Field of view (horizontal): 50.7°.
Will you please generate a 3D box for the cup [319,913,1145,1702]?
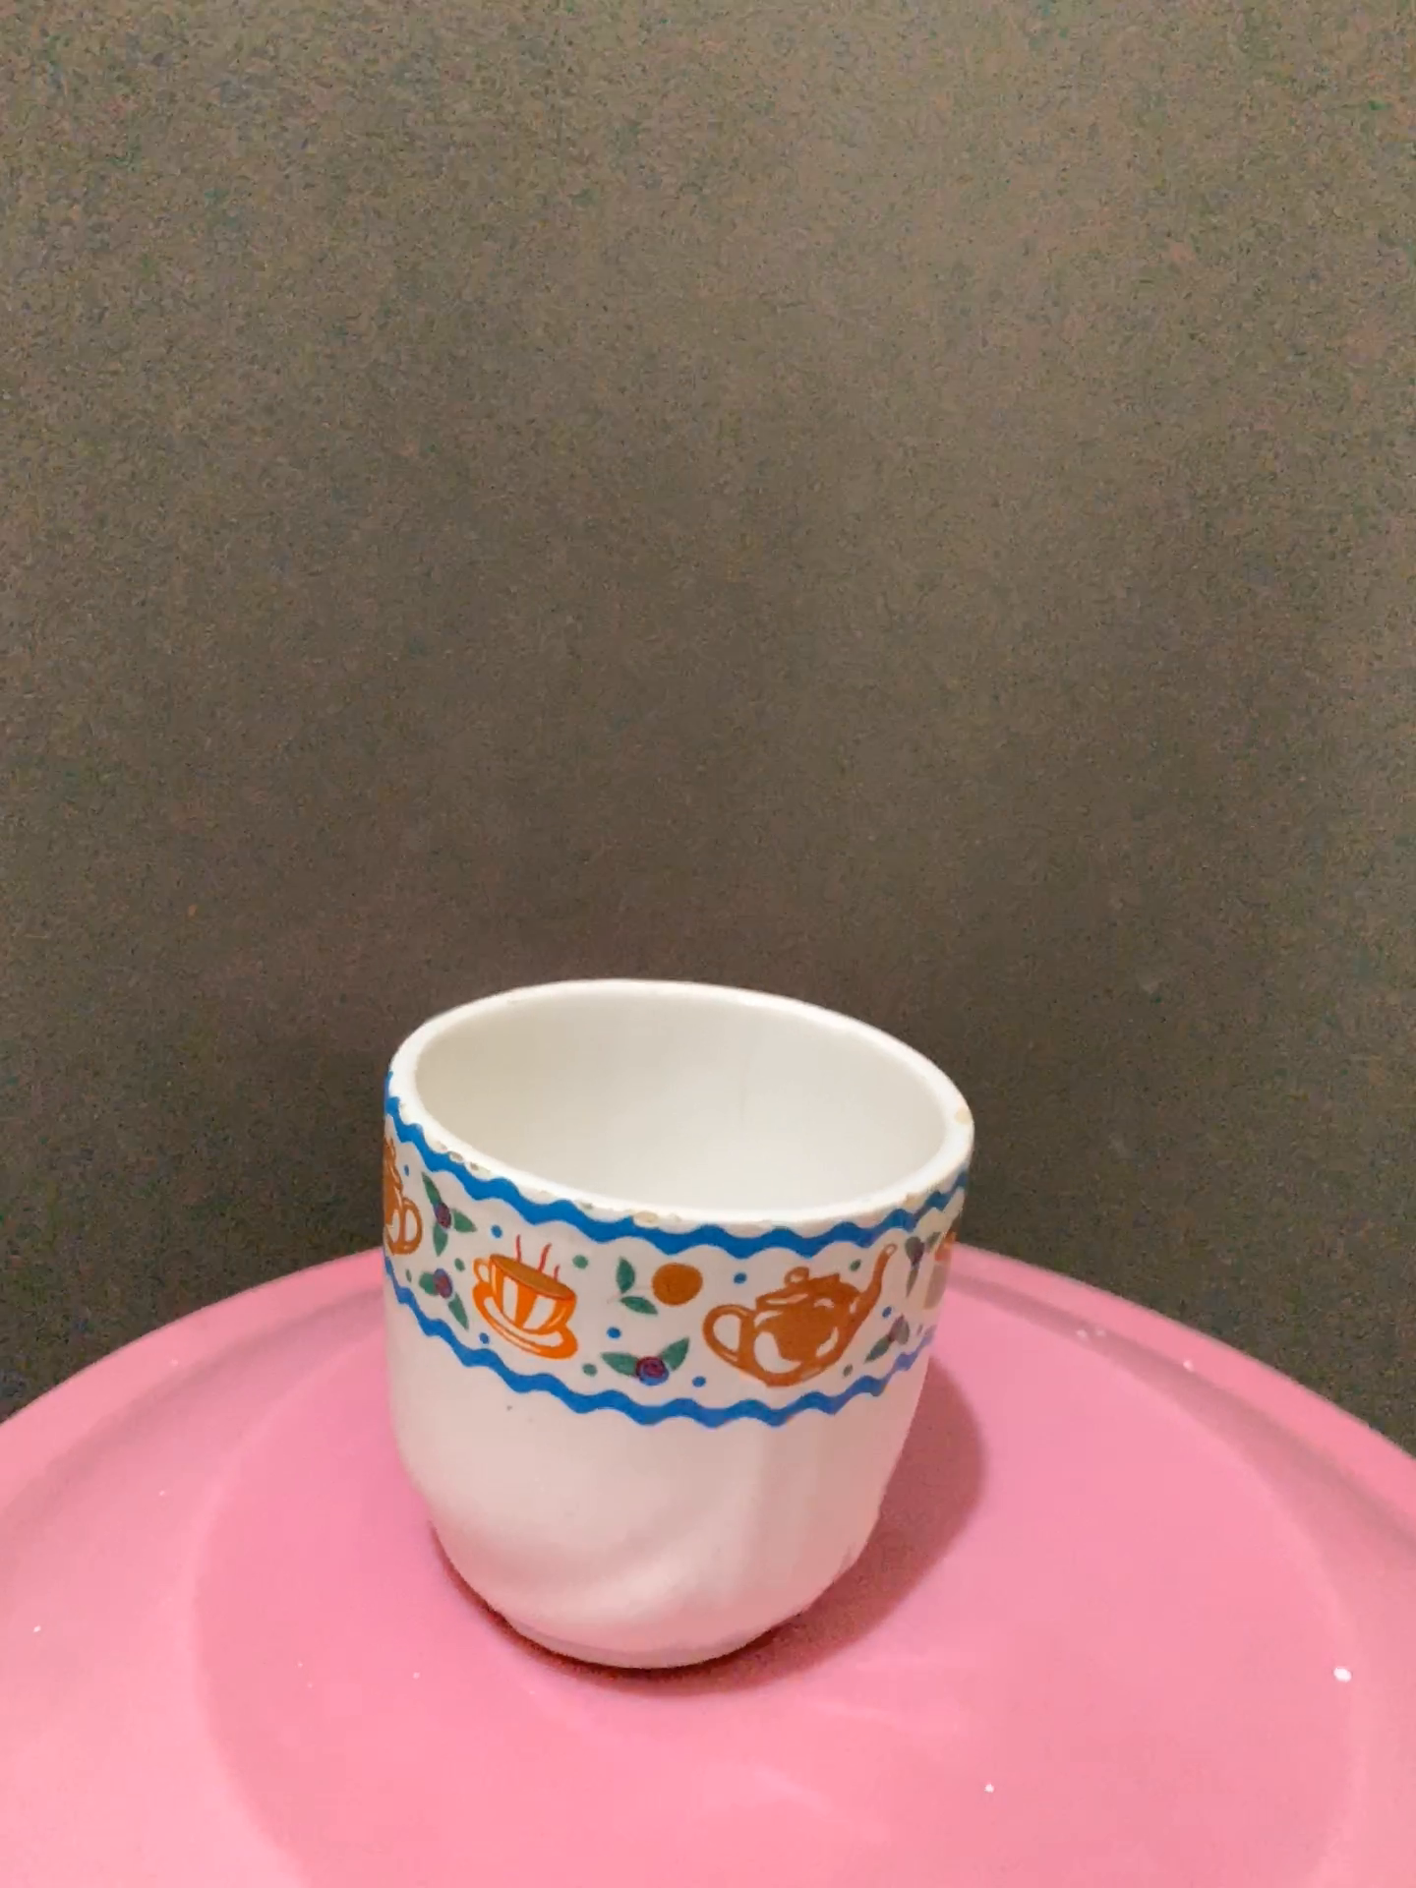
[{"bbox_3d":[-0.002,0.038,0.180,0.075,0.062,0.072,5,14,-1],"label":"cup"}]
